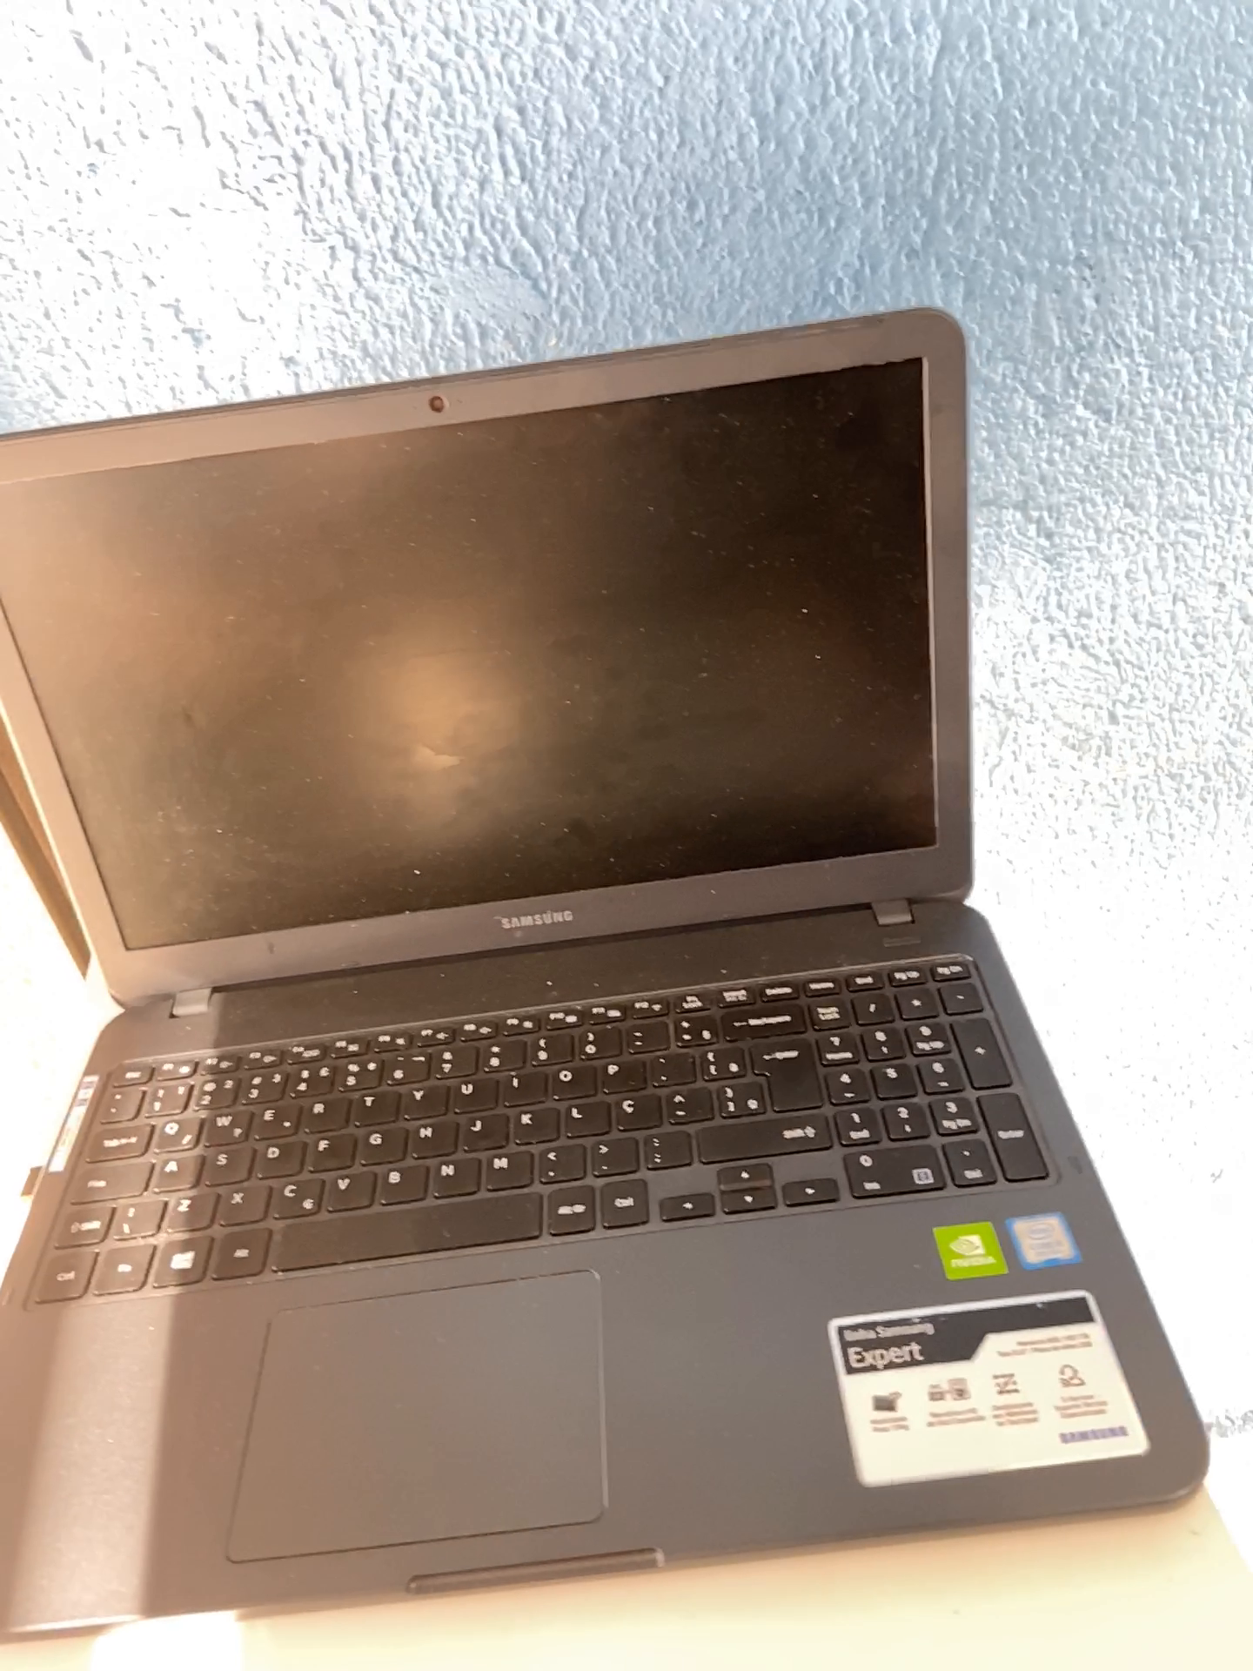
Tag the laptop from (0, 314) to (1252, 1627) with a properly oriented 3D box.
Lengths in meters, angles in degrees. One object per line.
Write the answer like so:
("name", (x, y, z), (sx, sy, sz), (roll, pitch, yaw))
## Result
("laptop", (-0.049, 0.021, 0.405), (0.370, 0.232, 0.288), (-8, 36, 2))
